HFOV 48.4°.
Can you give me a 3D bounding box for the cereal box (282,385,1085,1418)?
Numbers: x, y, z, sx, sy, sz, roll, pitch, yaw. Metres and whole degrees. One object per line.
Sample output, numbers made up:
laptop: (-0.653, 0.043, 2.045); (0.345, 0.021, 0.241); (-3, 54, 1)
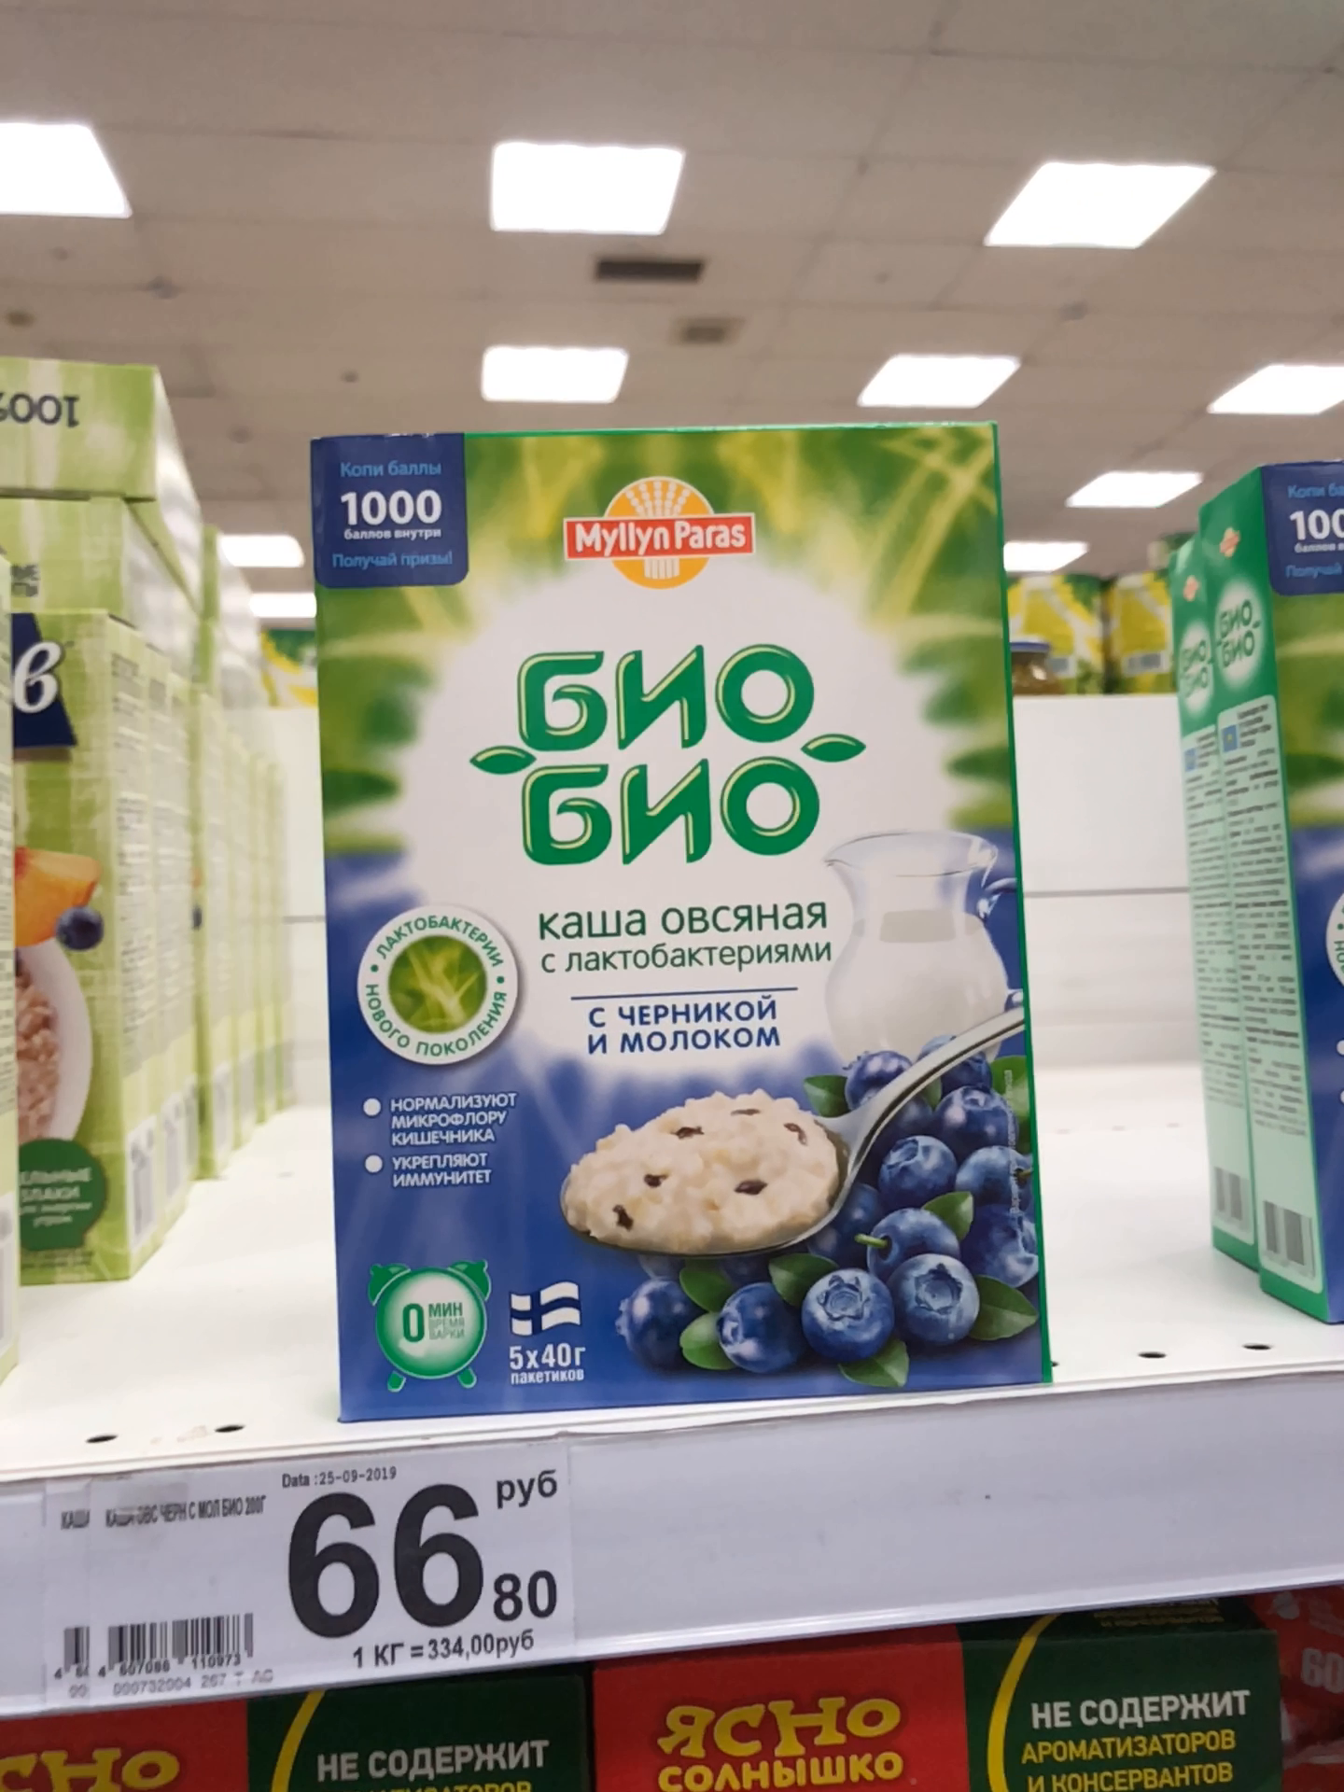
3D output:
cereal box: (0.001, -0.001, 0.331); (0.160, 0.210, 0.040); (-2, -3, -3)
